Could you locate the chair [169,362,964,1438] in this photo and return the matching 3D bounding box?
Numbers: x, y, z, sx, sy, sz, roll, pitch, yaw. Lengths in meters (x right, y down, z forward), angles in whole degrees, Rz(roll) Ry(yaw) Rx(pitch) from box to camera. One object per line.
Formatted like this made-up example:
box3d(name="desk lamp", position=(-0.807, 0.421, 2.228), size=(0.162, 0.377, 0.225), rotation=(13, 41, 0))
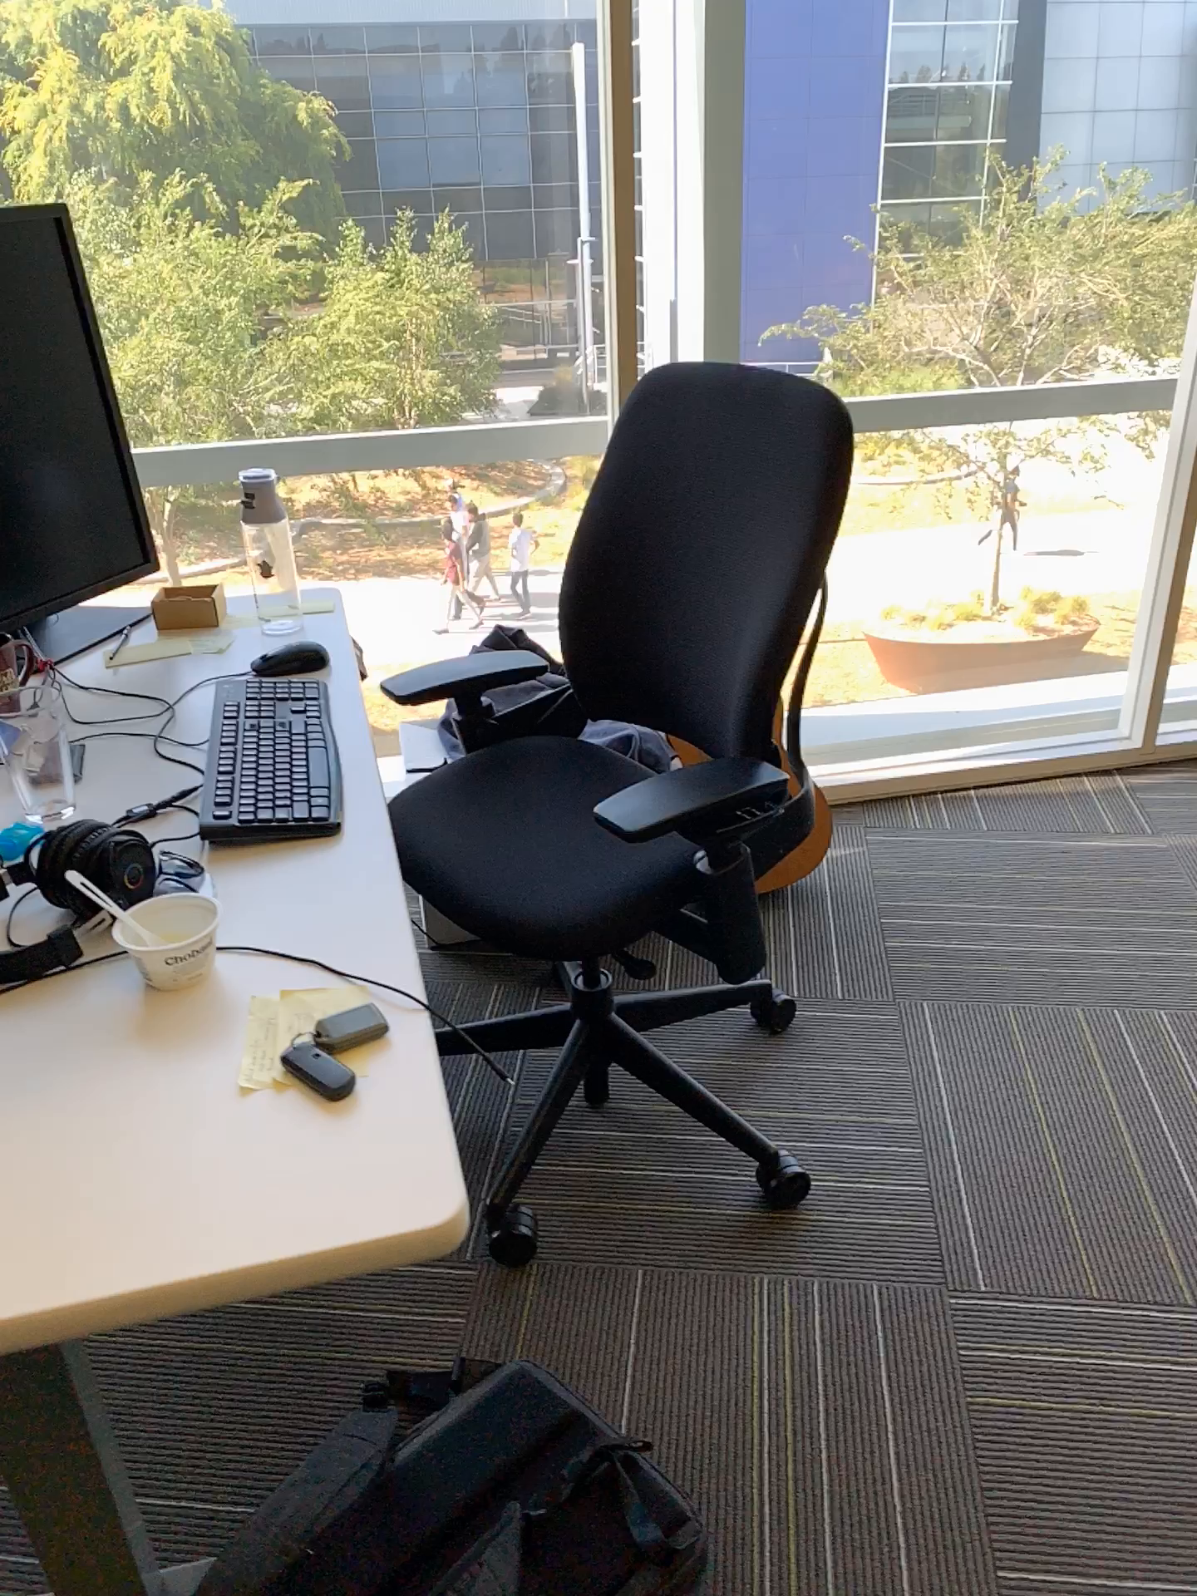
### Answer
box3d(name="chair", position=(-0.032, 0.076, 1.789), size=(0.691, 1.223, 0.713), rotation=(-23, 34, -35))
